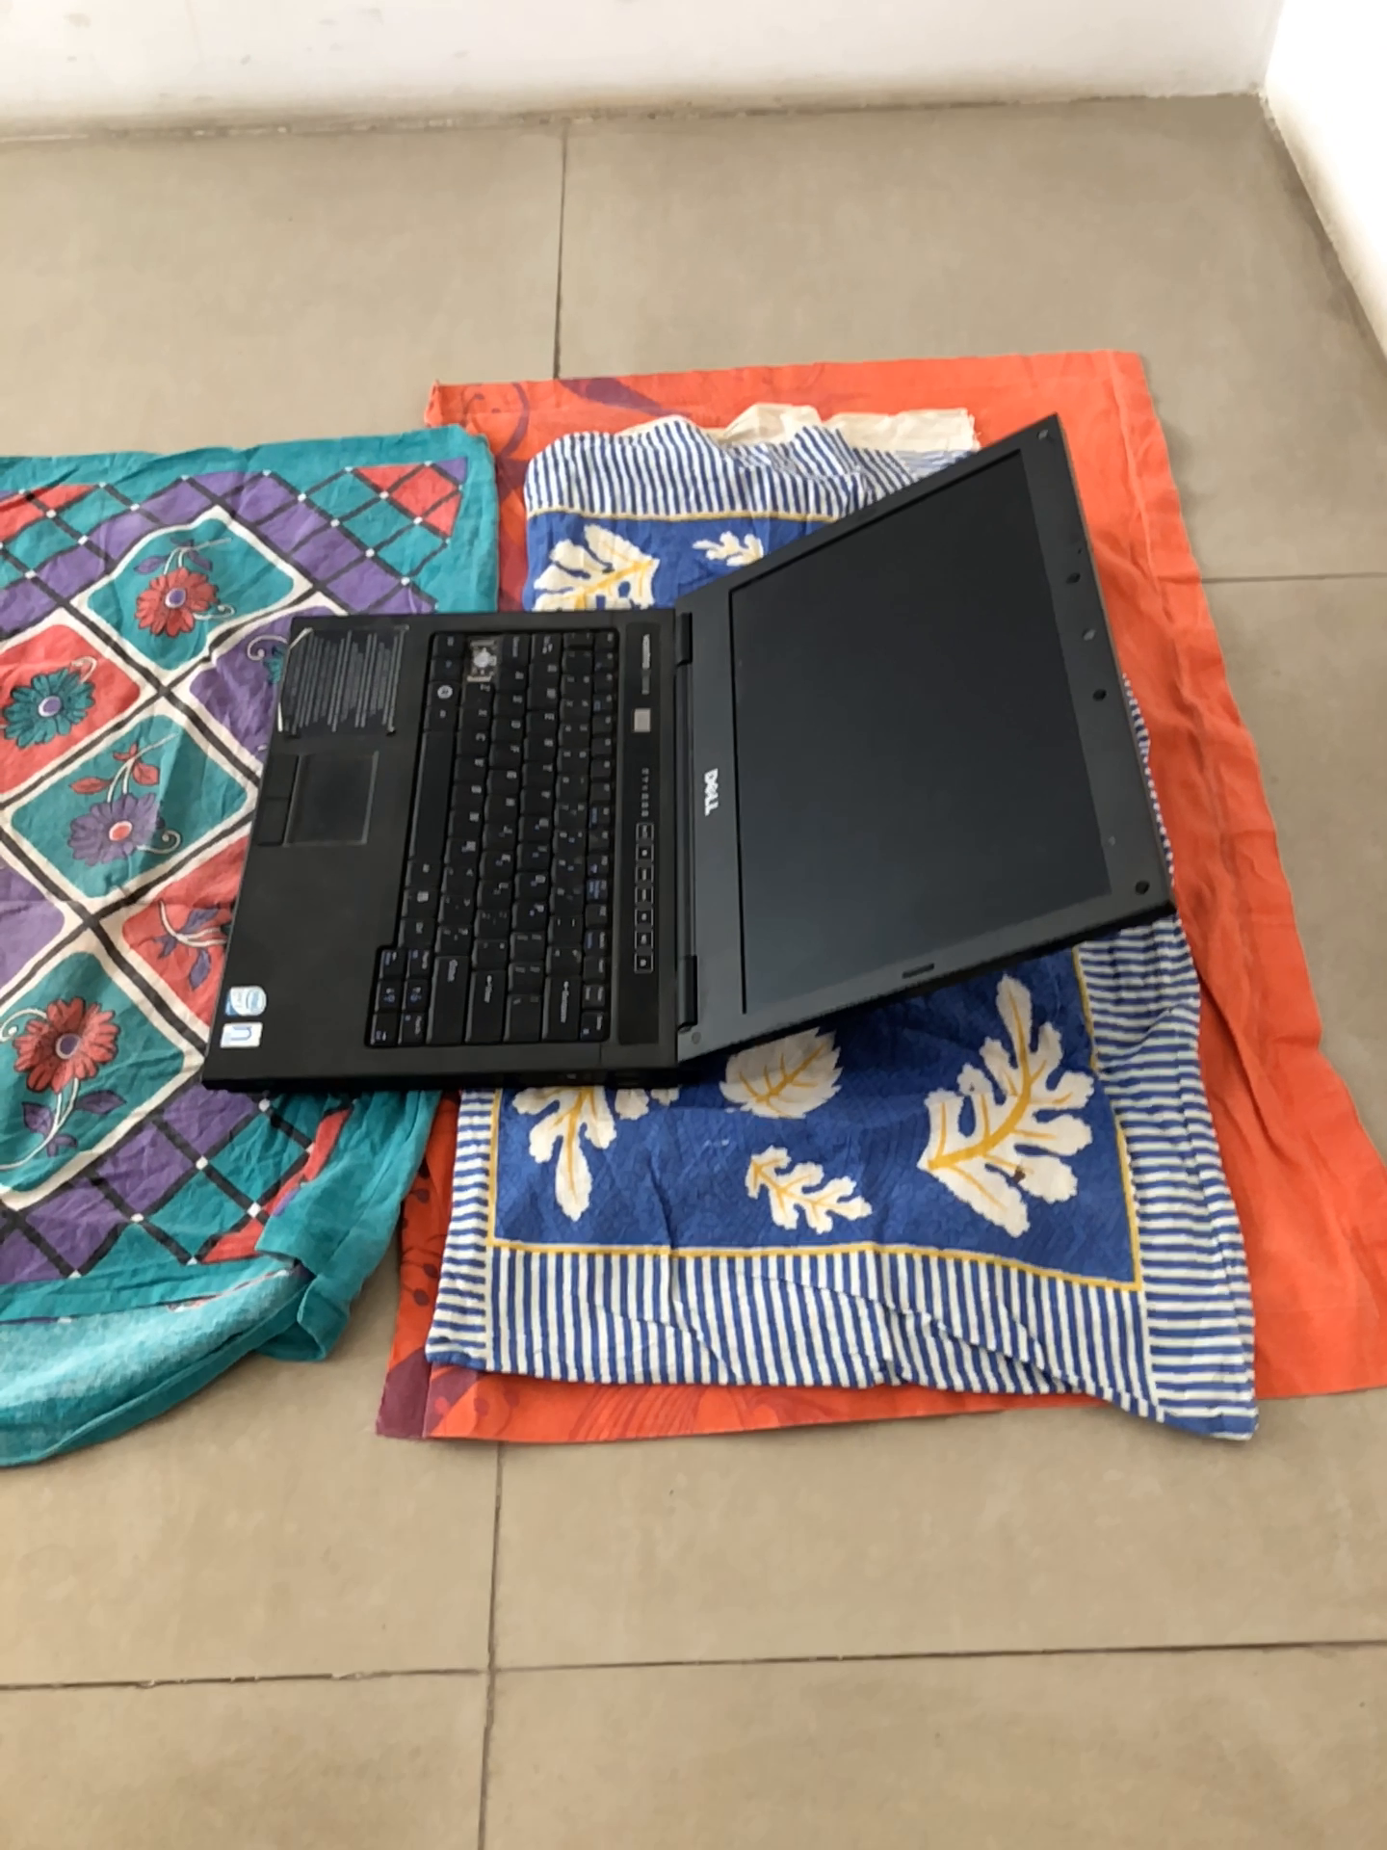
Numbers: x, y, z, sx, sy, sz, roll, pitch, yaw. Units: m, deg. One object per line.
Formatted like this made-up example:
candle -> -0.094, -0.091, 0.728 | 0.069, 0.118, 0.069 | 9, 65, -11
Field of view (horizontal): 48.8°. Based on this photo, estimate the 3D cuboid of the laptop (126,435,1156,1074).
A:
laptop -> -0.021, -0.094, 0.762 | 0.419, 0.125, 0.307 | -1, 55, -1
